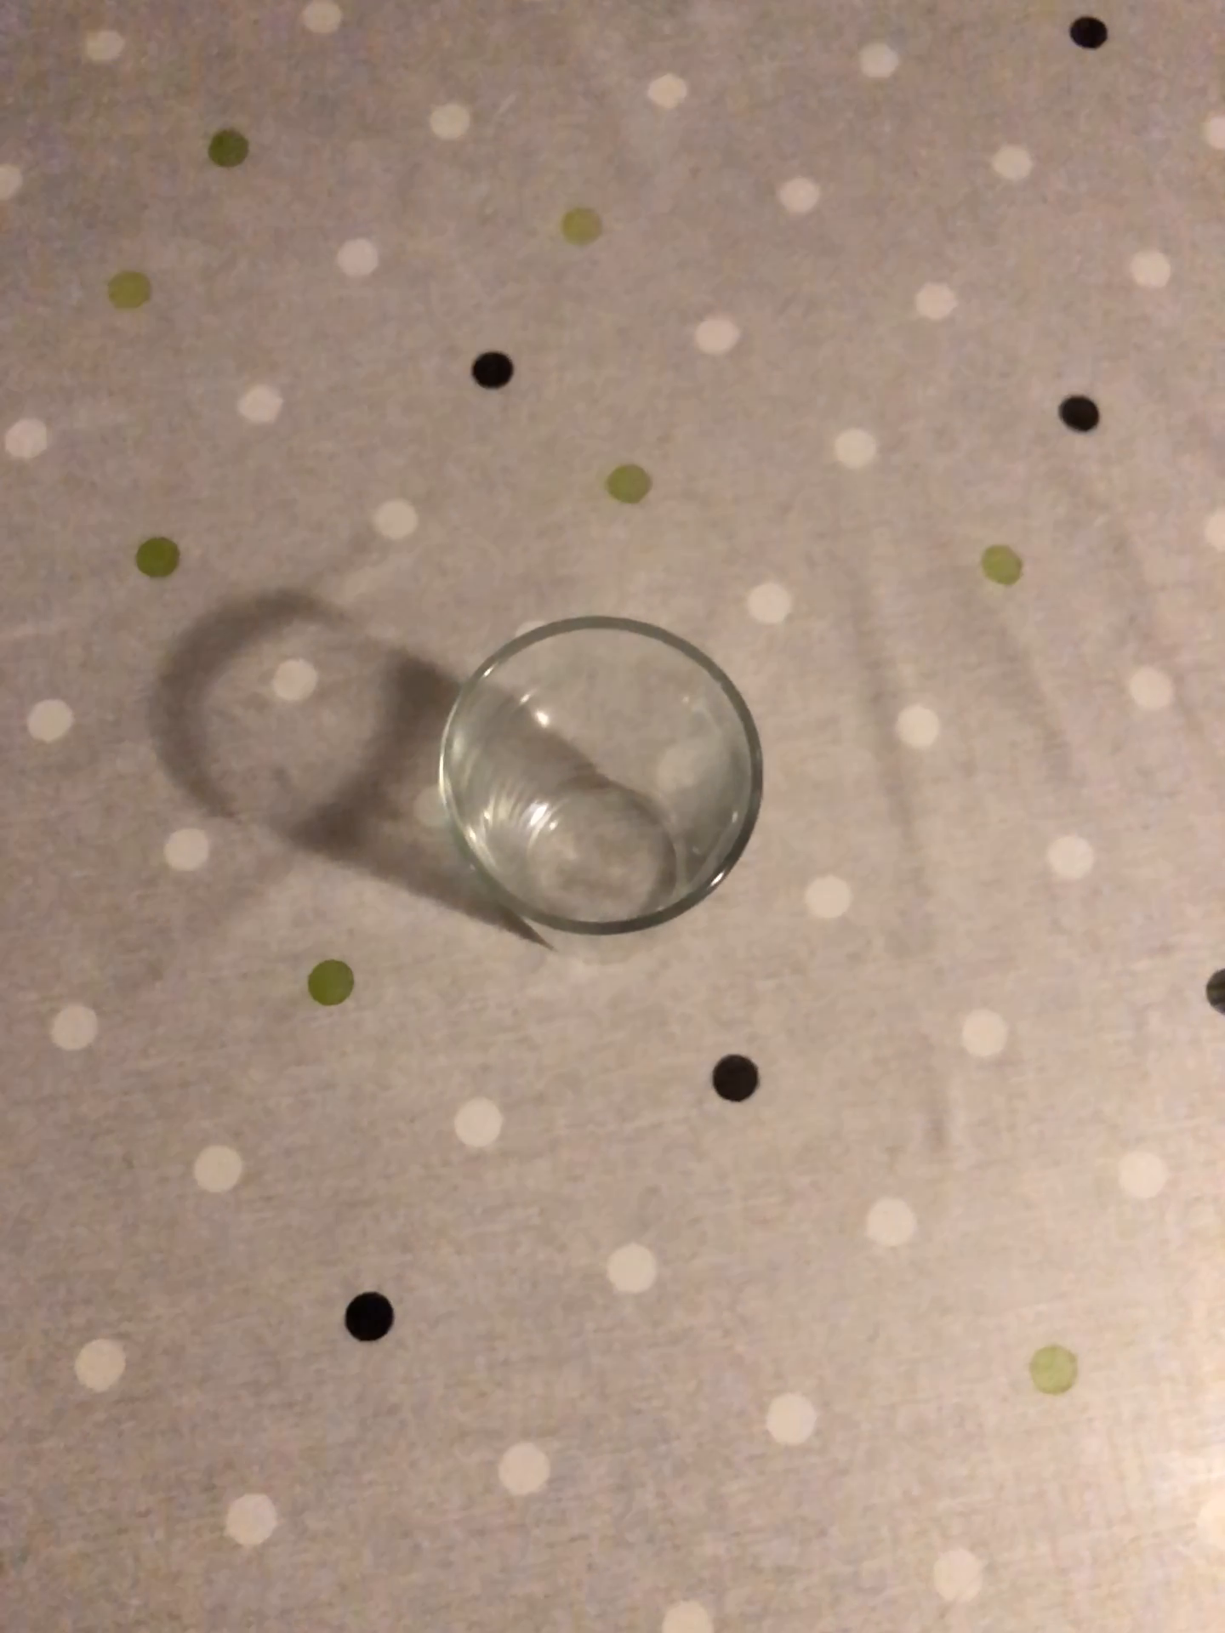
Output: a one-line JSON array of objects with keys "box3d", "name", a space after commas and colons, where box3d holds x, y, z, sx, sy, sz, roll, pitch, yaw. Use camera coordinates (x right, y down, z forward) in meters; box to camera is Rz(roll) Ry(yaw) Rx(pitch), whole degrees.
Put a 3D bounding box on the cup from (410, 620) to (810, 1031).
[{"box3d": [-0.002, 0.010, 0.322, 0.069, 0.118, 0.068, 0, 79, 0], "name": "cup"}]
